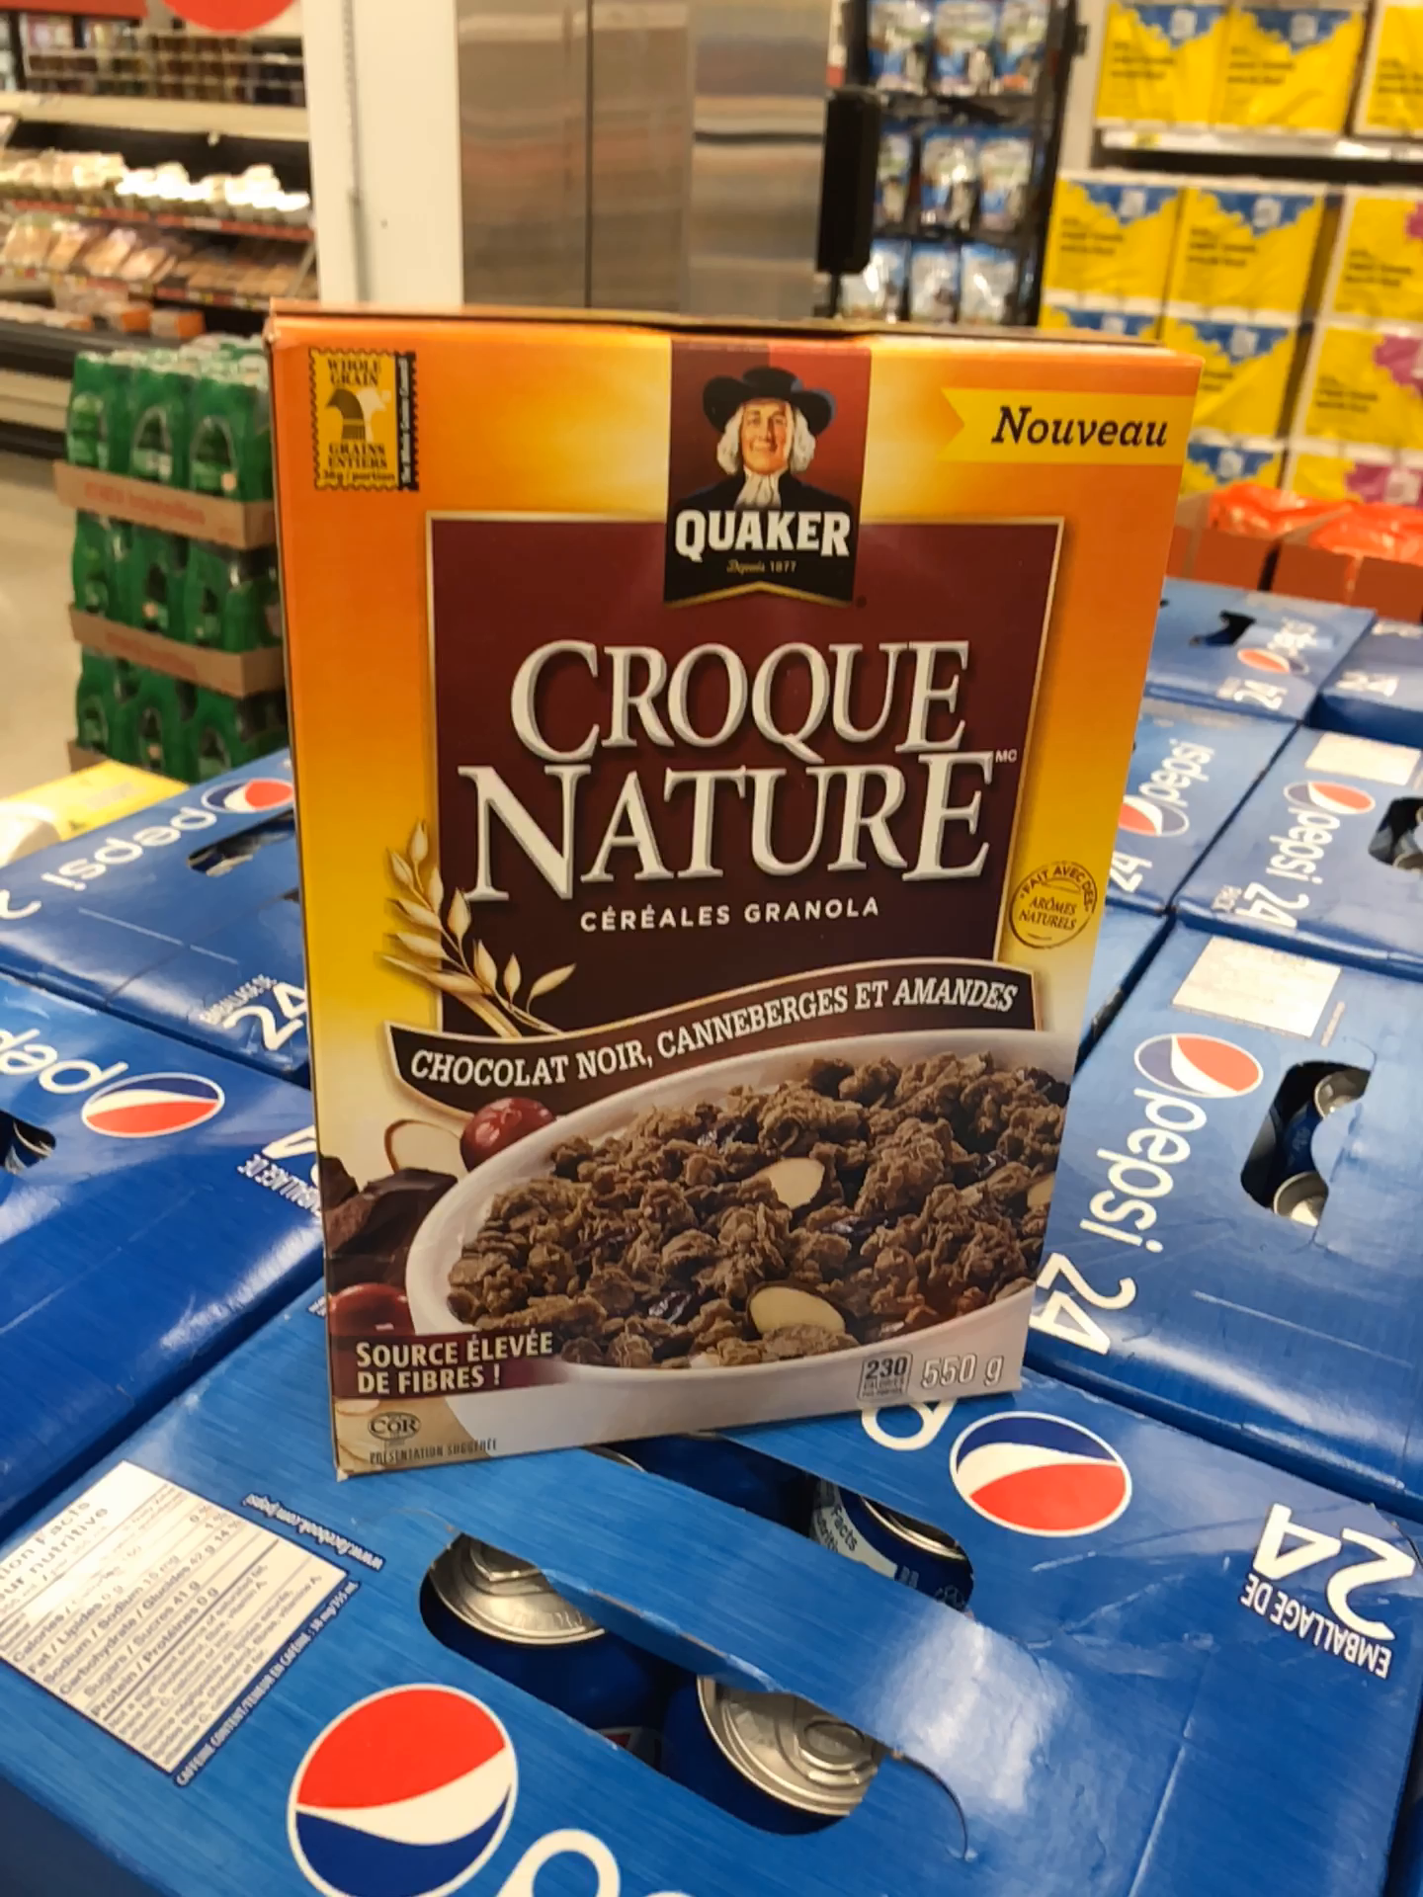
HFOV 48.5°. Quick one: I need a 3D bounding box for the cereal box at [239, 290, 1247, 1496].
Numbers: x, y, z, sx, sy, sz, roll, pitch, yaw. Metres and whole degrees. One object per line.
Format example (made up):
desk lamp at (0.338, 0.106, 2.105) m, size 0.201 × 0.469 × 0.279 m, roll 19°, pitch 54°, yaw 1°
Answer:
cereal box at (-0.001, -0.006, 0.322) m, size 0.160 × 0.229 × 0.060 m, roll -4°, pitch 28°, yaw -12°
